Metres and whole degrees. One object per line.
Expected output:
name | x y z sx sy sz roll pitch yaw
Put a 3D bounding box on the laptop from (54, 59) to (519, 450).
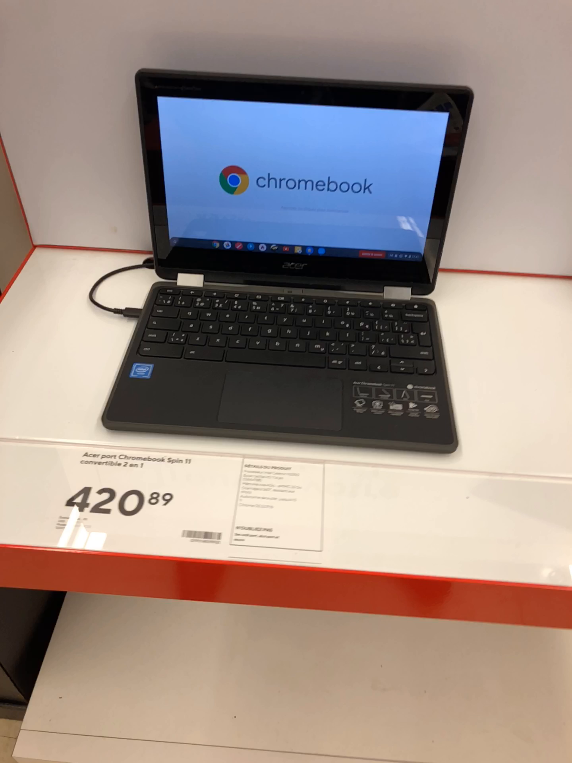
laptop | 0.003 -0.116 0.545 0.289 0.198 0.253 3 47 2
